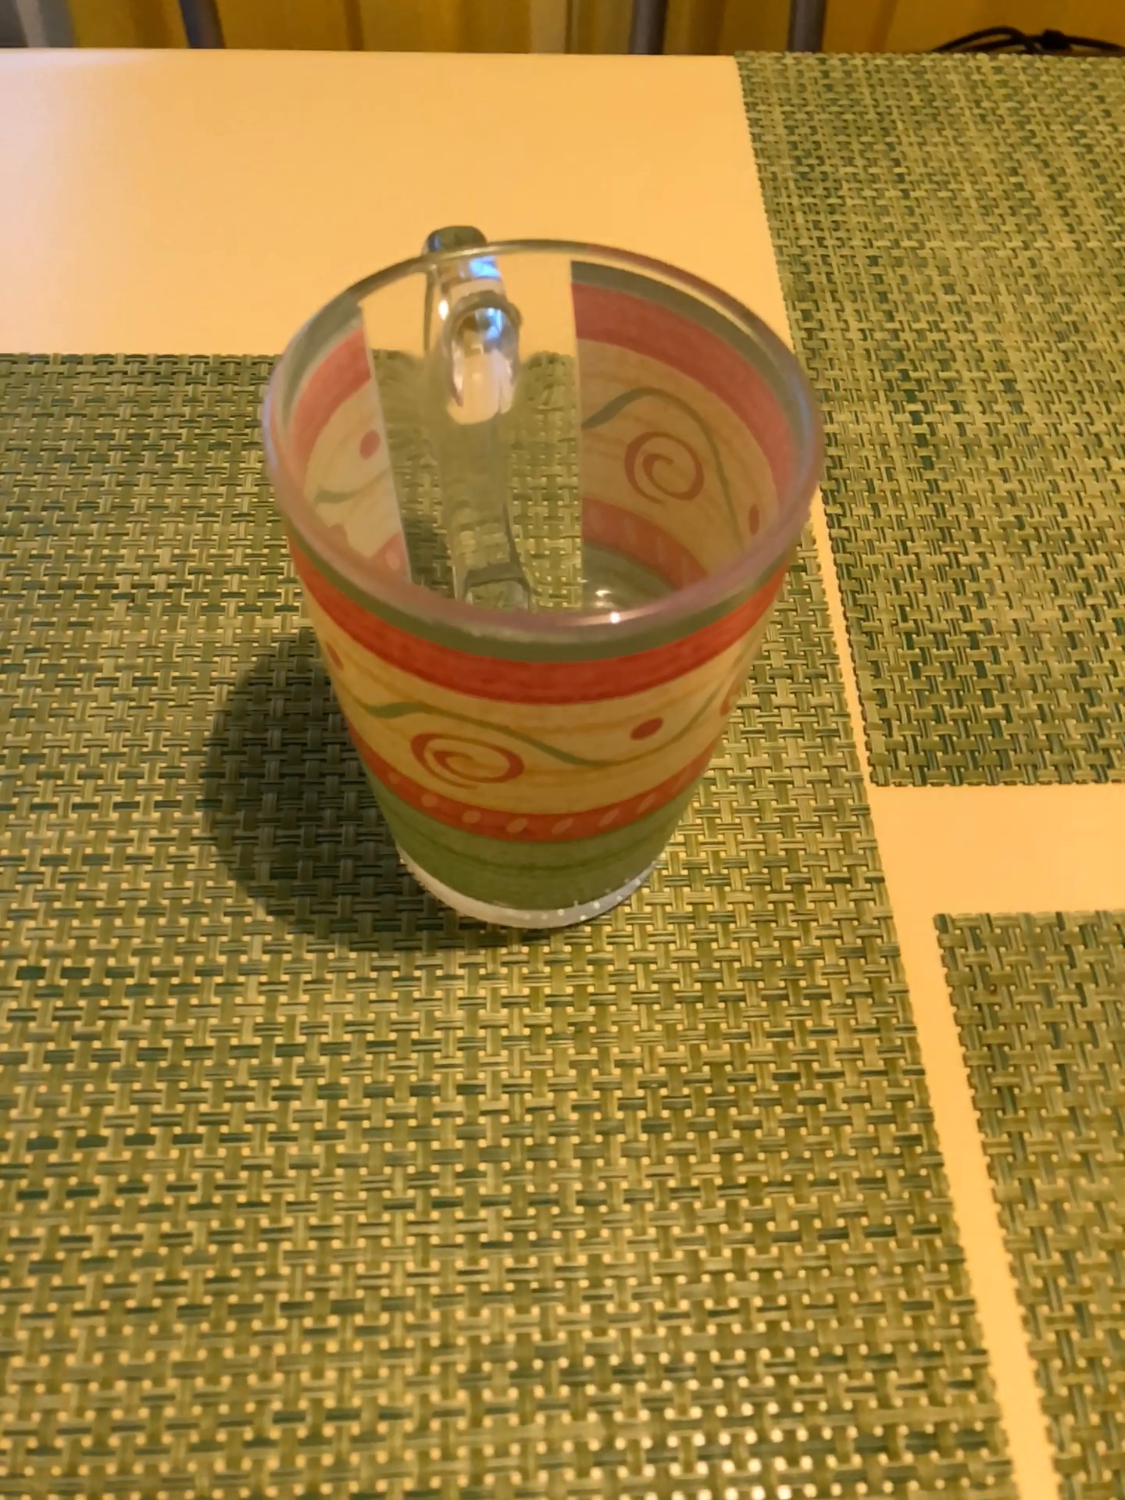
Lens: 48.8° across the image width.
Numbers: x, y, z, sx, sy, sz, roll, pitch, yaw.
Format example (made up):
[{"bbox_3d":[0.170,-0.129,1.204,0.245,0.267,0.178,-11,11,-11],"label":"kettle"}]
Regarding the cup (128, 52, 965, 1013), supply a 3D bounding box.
[{"bbox_3d":[-0.012,-0.038,0.211,0.090,0.090,0.121,-12,58,-10],"label":"cup"}]
